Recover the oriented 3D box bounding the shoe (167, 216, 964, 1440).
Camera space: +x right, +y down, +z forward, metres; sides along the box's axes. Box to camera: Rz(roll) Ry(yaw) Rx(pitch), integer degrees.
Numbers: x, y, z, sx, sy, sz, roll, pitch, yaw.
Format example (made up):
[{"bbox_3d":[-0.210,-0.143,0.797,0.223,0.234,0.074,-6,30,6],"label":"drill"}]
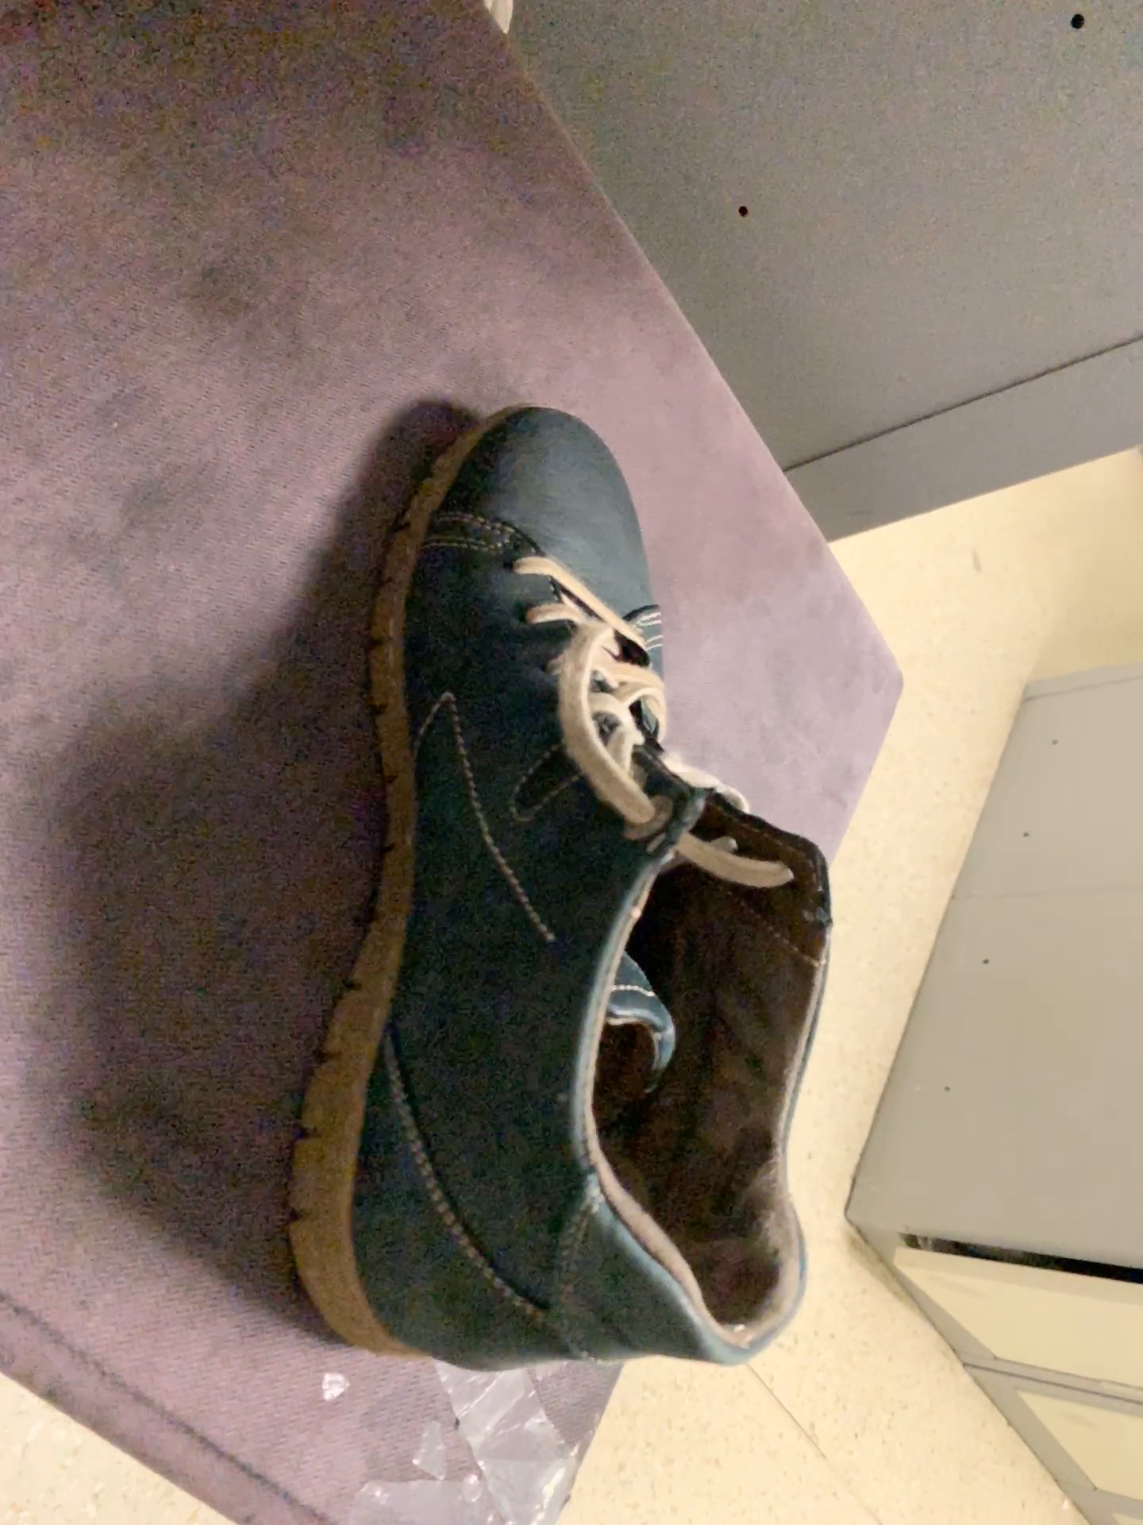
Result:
[{"bbox_3d":[0.007,0.018,0.305,0.104,0.142,0.245,26,64,-39],"label":"shoe"}]
